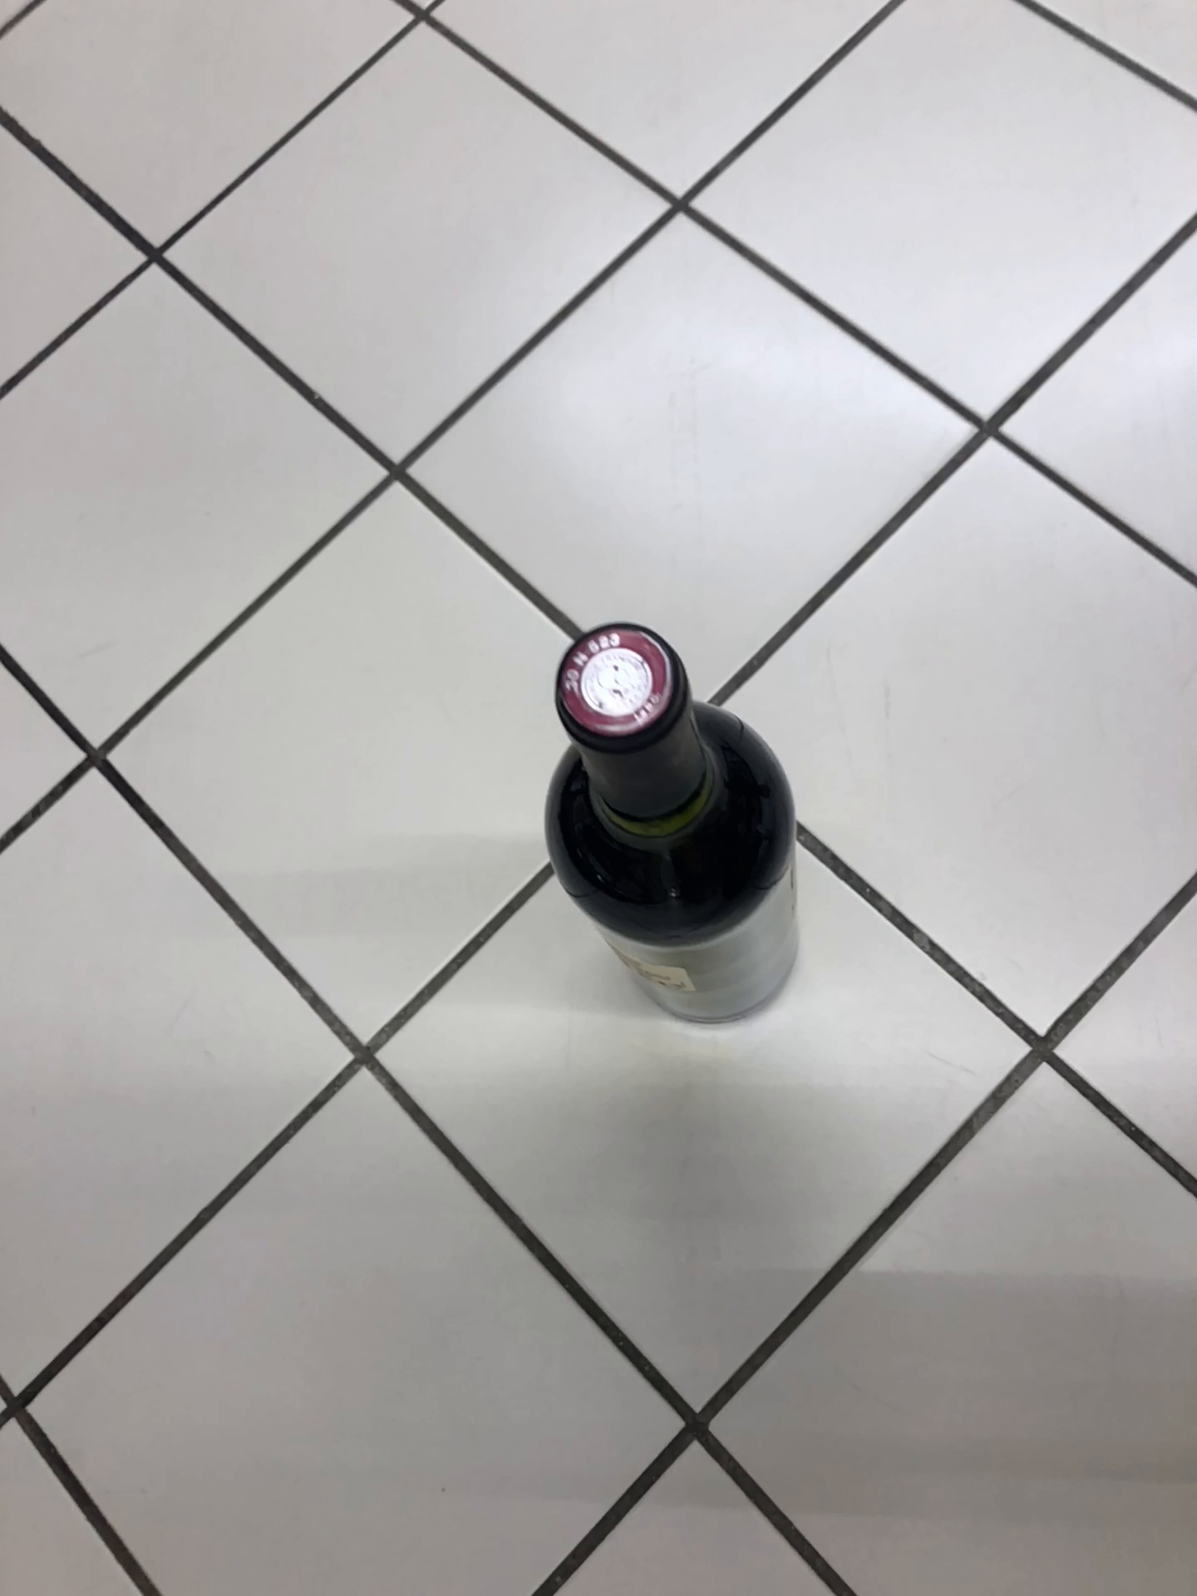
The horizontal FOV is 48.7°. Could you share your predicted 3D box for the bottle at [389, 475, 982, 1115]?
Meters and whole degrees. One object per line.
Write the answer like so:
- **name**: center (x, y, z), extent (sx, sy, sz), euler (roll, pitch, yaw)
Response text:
- **bottle**: center (0.038, 0.028, 0.418), extent (0.090, 0.290, 0.090), euler (-2, 73, 8)
